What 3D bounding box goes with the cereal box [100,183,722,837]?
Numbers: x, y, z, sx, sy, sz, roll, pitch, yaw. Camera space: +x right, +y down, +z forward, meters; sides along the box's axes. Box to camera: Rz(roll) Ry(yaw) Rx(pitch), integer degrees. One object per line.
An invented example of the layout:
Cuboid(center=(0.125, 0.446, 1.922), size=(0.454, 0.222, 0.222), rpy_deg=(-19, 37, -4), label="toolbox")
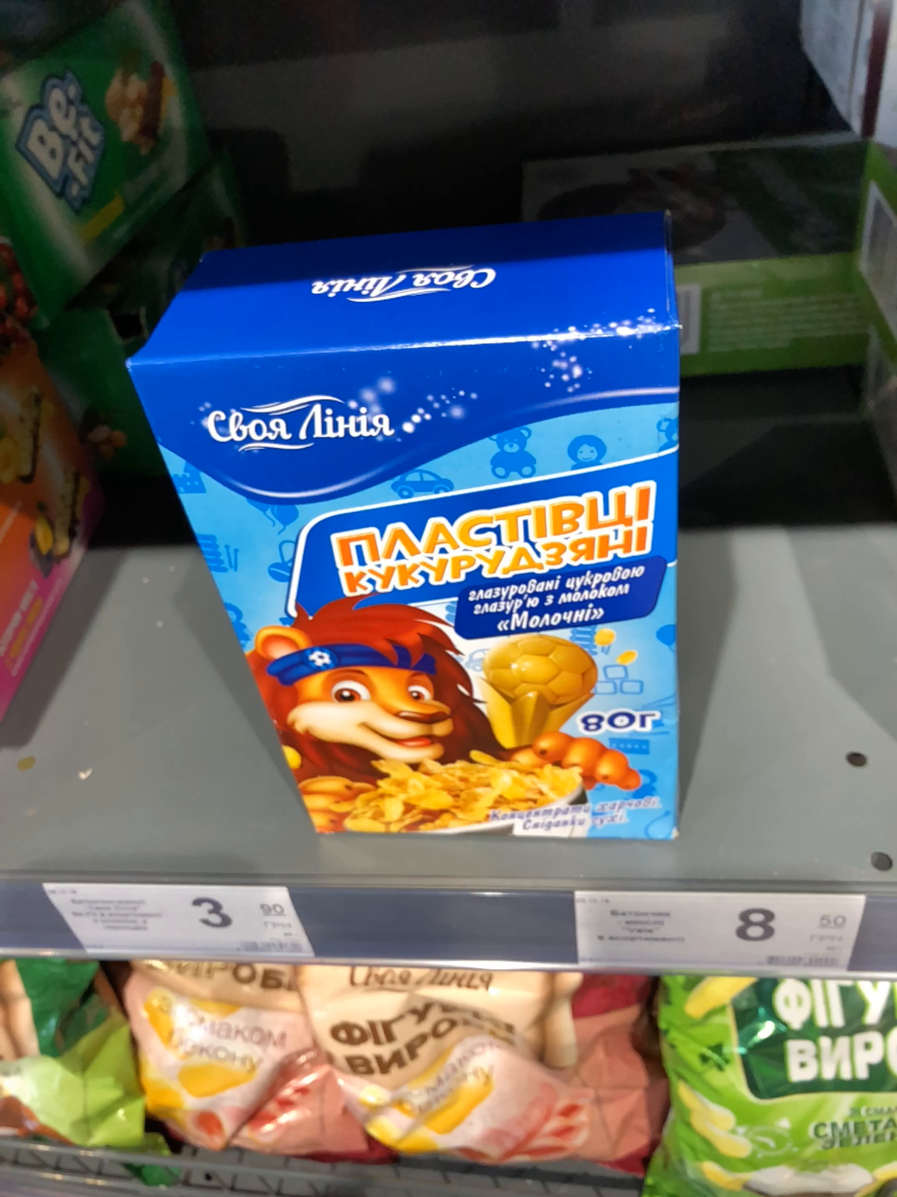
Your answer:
Cuboid(center=(0.003, -0.009, 0.270), size=(0.120, 0.169, 0.060), rpy_deg=(-2, 44, 8), label="cereal box")
